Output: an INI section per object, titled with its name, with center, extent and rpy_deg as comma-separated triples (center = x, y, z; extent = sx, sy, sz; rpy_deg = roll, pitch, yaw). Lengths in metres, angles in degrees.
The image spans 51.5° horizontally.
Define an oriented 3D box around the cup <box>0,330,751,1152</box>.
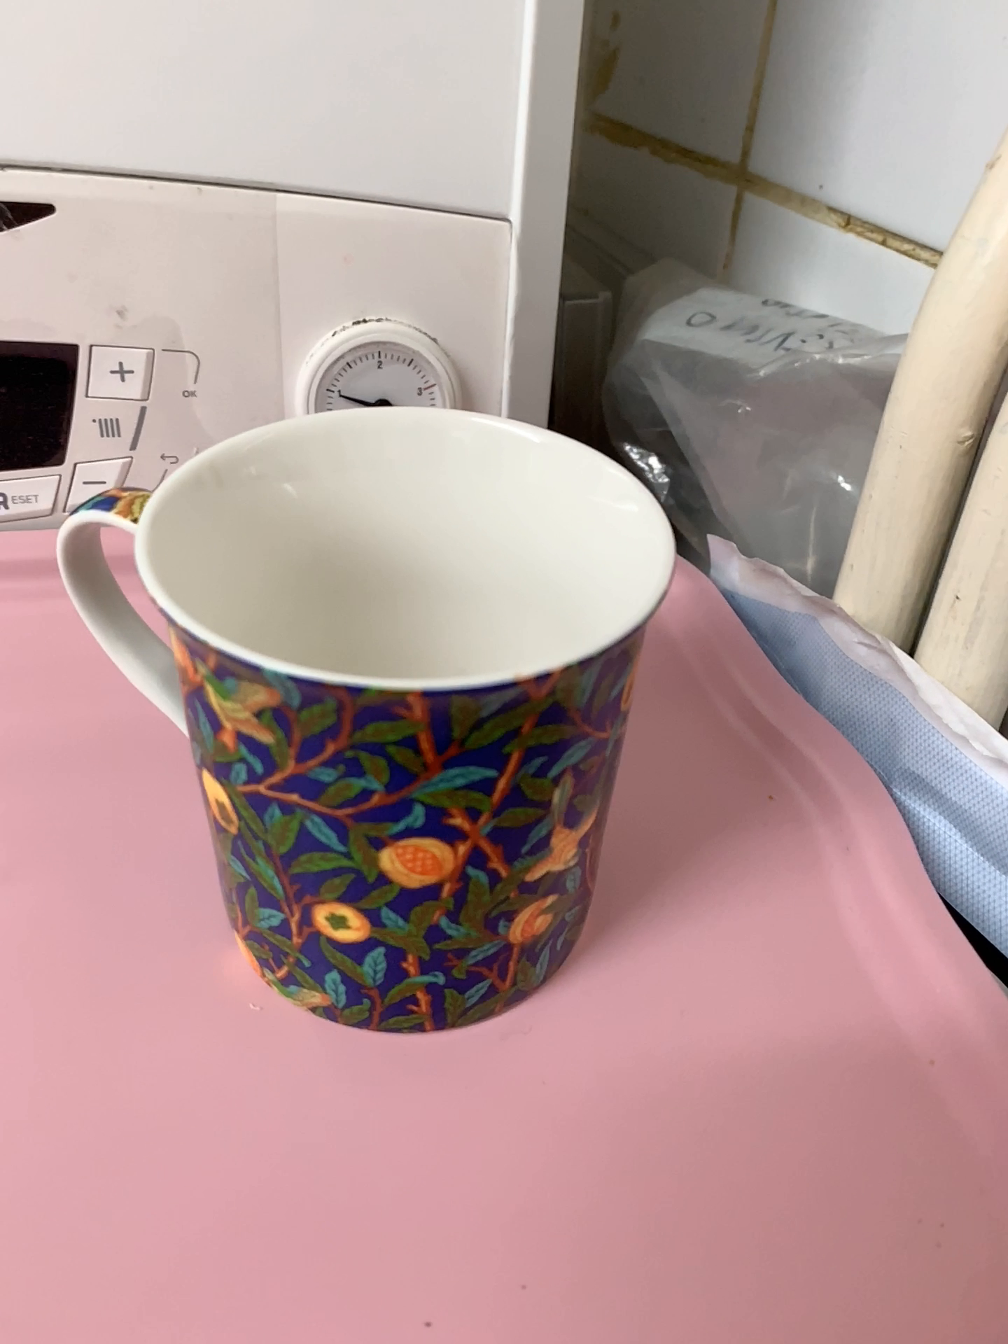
[cup]
center = -0.033, 0.000, 0.183
extent = 0.120, 0.079, 0.081
rpy_deg = 18, 35, 19
